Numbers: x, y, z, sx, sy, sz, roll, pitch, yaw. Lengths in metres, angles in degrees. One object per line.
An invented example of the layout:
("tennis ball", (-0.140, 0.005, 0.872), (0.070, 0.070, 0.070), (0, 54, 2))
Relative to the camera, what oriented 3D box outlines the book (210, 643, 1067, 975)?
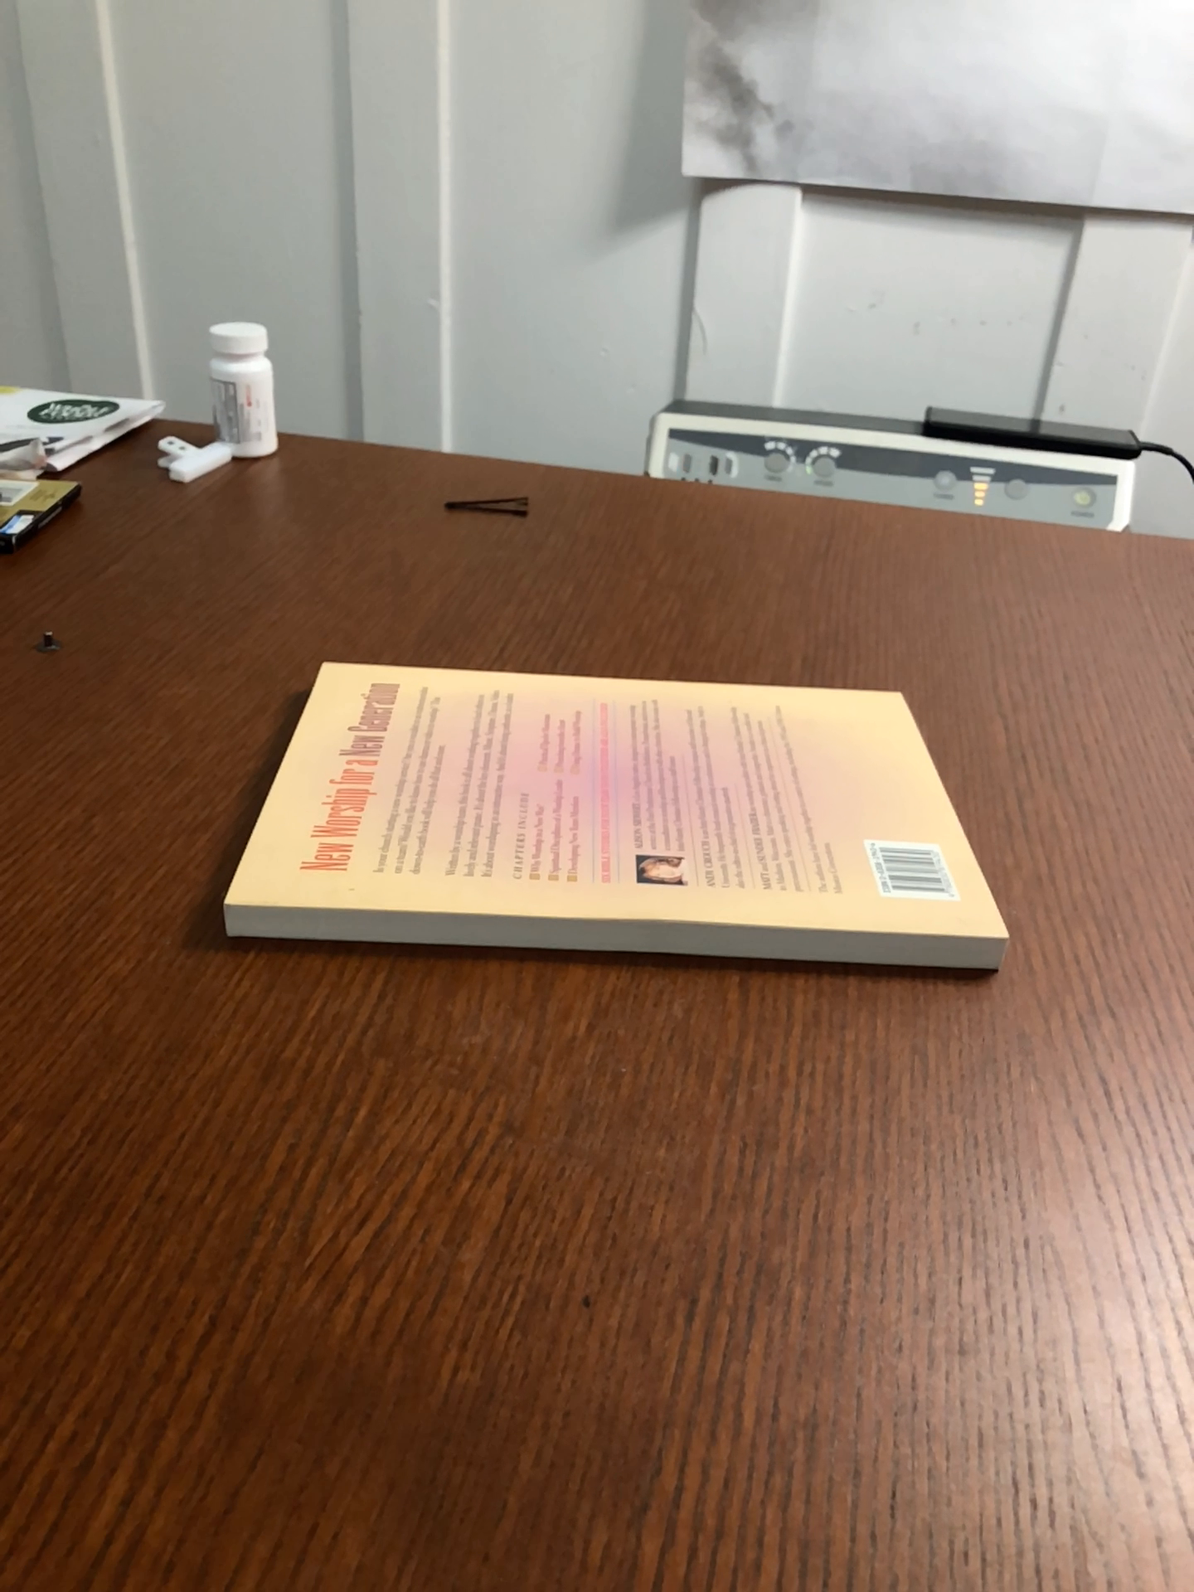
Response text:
("book", (0.012, -0.004, 0.501), (0.270, 0.020, 0.191), (2, 31, -3))
